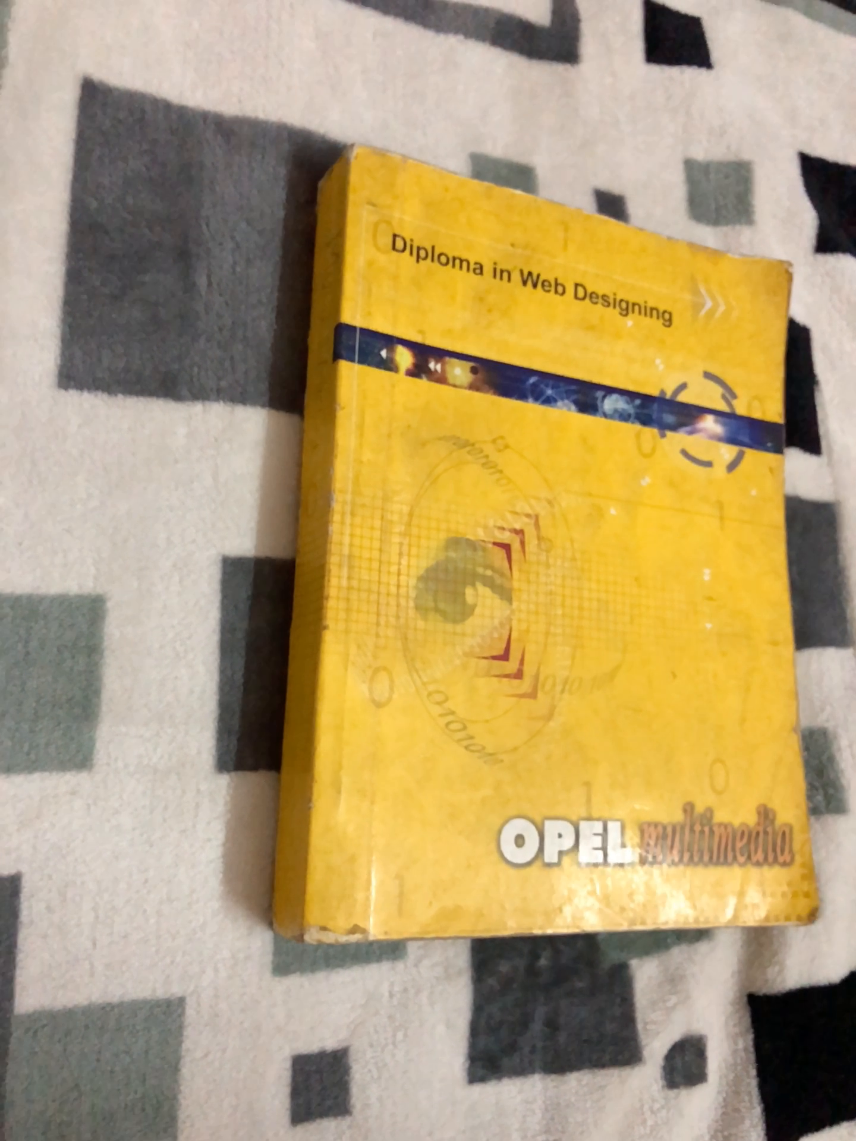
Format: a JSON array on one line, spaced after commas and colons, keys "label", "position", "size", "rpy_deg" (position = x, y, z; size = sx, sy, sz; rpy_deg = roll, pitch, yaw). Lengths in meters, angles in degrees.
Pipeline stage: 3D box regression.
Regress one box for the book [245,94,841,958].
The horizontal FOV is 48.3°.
[{"label": "book", "position": [0.052, -0.012, 0.401], "size": [0.221, 0.070, 0.310], "rpy_deg": [7, 76, -21]}]
